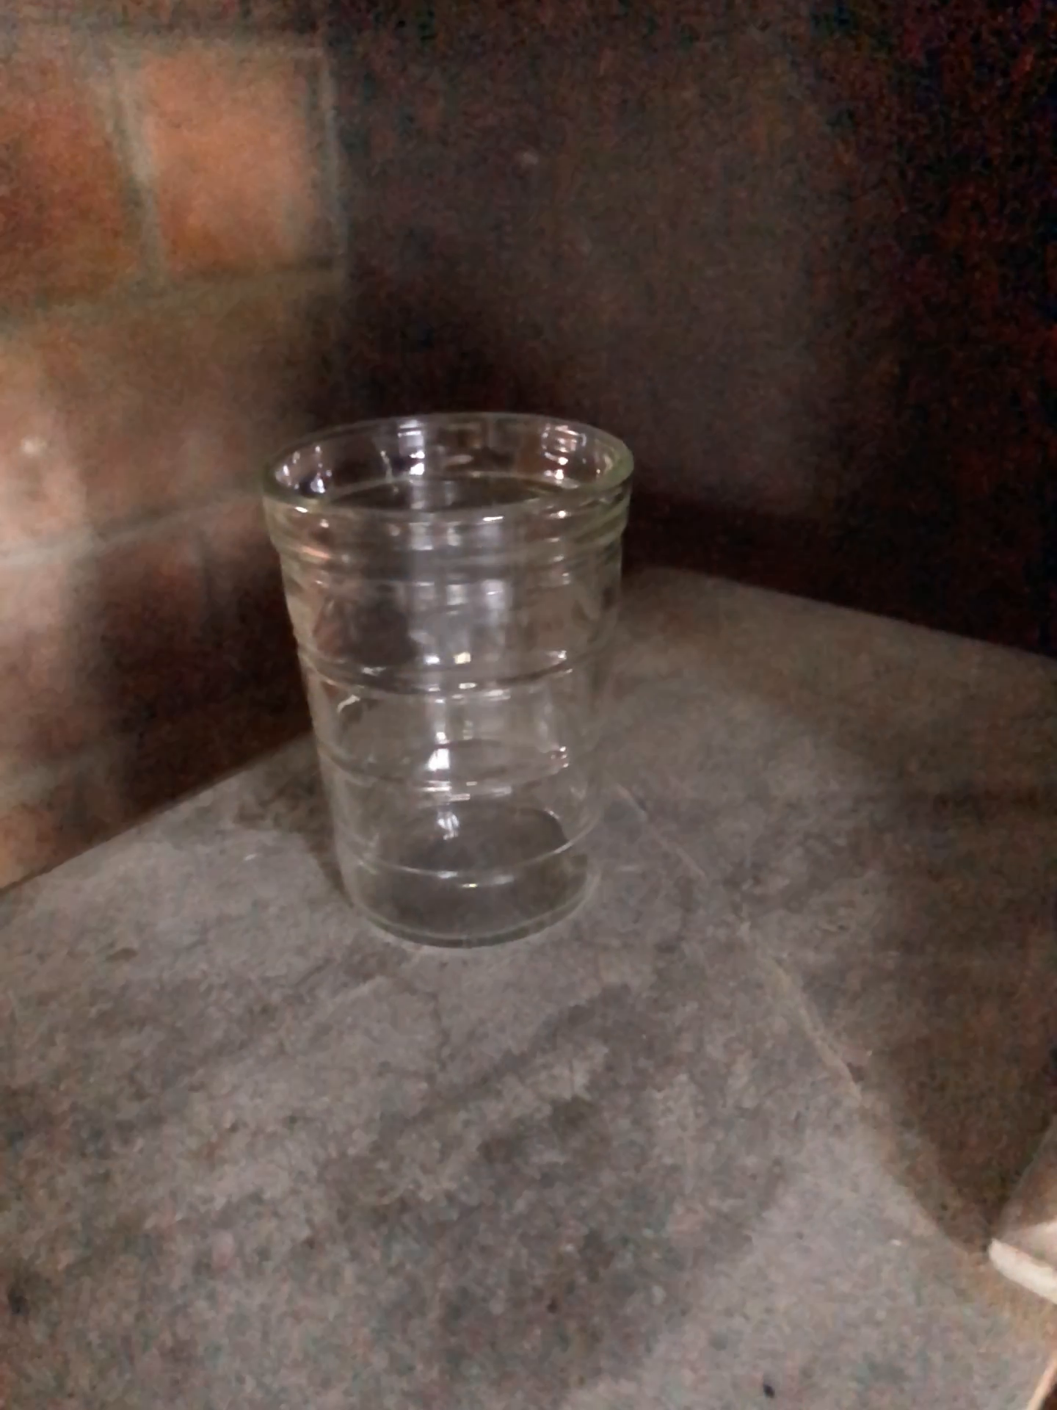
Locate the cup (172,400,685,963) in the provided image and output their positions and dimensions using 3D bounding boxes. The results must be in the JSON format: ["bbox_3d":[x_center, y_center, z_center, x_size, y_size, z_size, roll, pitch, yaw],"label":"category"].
[{"bbox_3d":[-0.011,-0.010,0.224,0.070,0.080,0.070,-3,26,1],"label":"cup"}]
